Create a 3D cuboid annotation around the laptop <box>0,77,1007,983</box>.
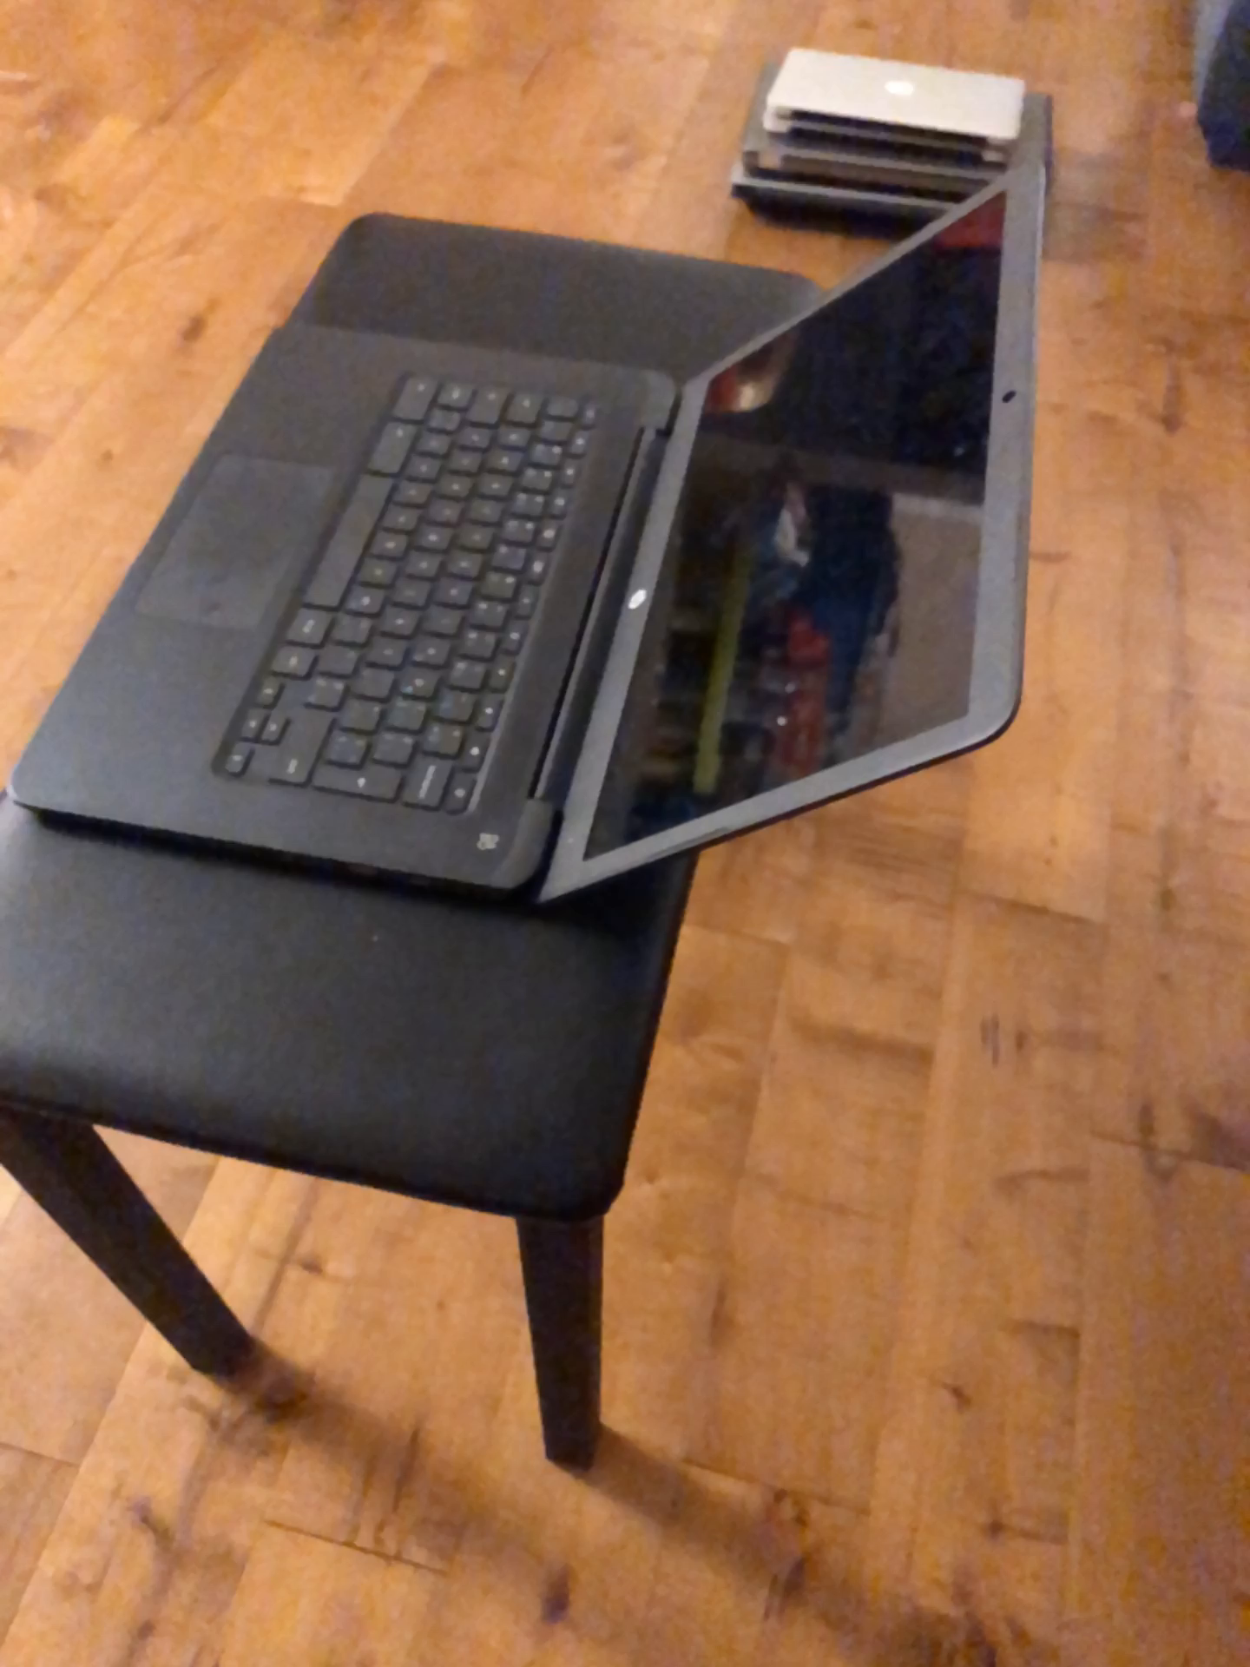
[{"bbox_3d":[-0.041,-0.144,0.583,0.362,0.144,0.318,11,54,4],"label":"laptop"}]
